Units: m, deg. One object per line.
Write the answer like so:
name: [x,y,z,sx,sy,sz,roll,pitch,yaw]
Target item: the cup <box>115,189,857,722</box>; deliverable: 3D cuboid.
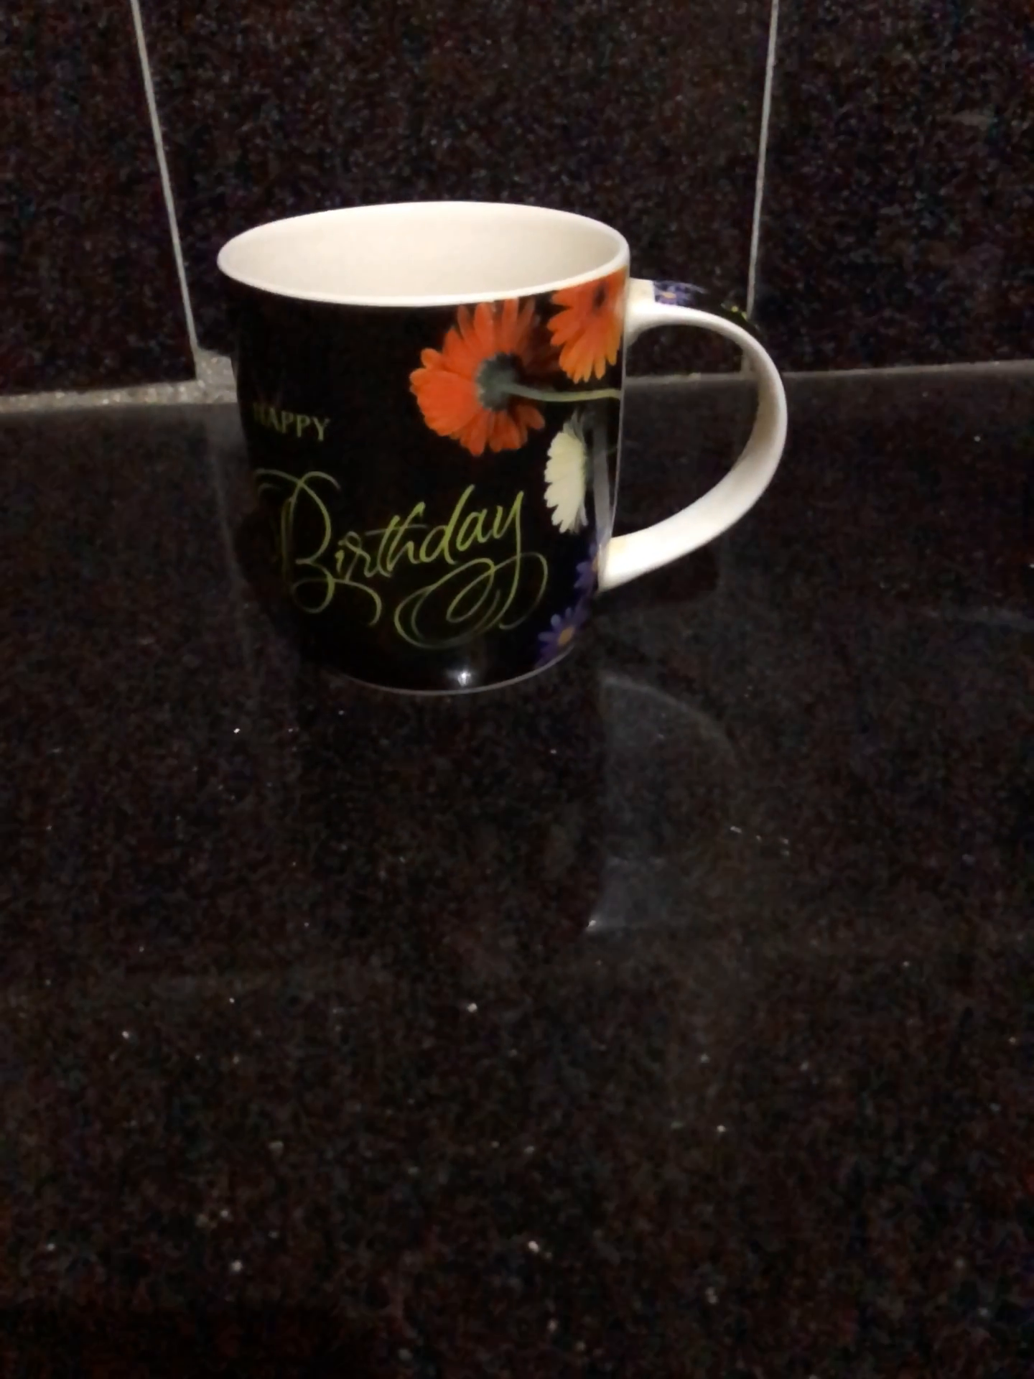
cup: [-0.006,-0.057,0.263,0.130,0.089,0.091,-1,34,-1]
